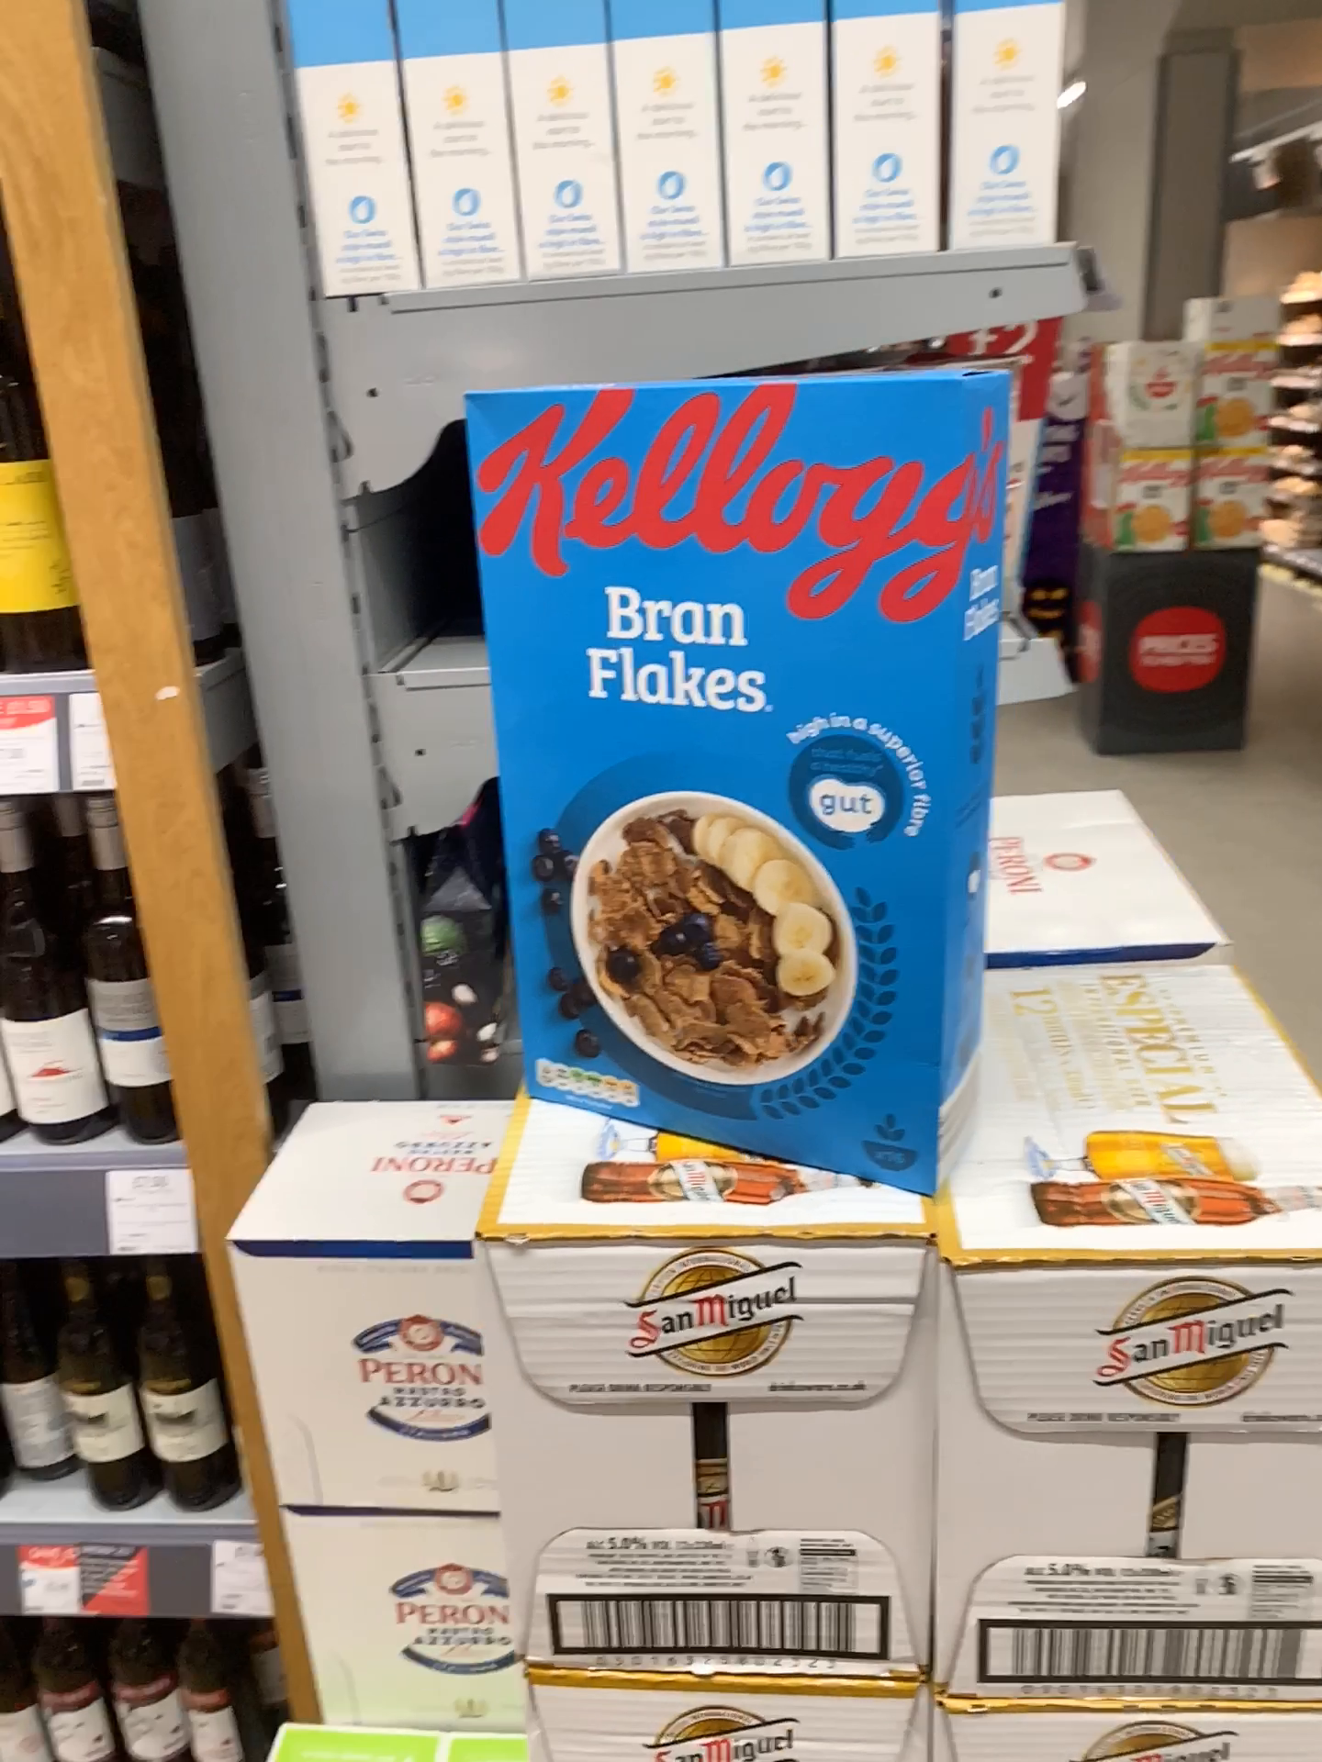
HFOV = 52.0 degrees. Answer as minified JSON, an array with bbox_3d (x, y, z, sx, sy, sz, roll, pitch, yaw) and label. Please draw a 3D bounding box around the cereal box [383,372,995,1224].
[{"bbox_3d":[0.011,-0.036,0.516,0.200,0.288,0.070,9,23,26],"label":"cereal box"}]
